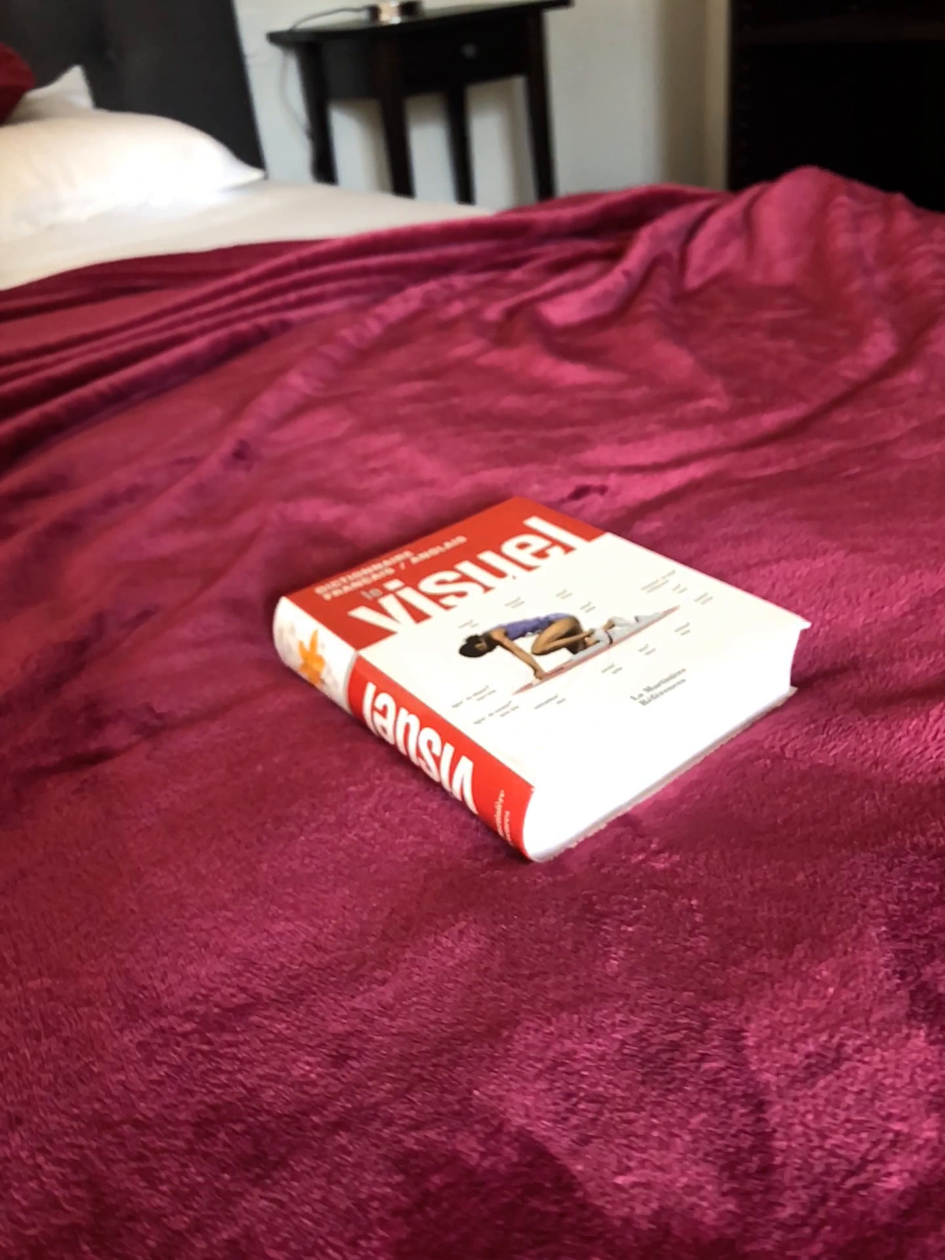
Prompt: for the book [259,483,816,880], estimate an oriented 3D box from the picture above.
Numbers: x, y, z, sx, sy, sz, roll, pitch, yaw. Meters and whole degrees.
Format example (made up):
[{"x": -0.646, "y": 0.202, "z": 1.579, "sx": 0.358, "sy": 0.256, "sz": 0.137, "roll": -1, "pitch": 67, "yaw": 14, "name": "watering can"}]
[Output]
[{"x": 0.020, "y": 0.005, "z": 0.431, "sx": 0.141, "sy": 0.039, "sz": 0.180, "roll": -26, "pitch": 36, "yaw": -28, "name": "book"}]
